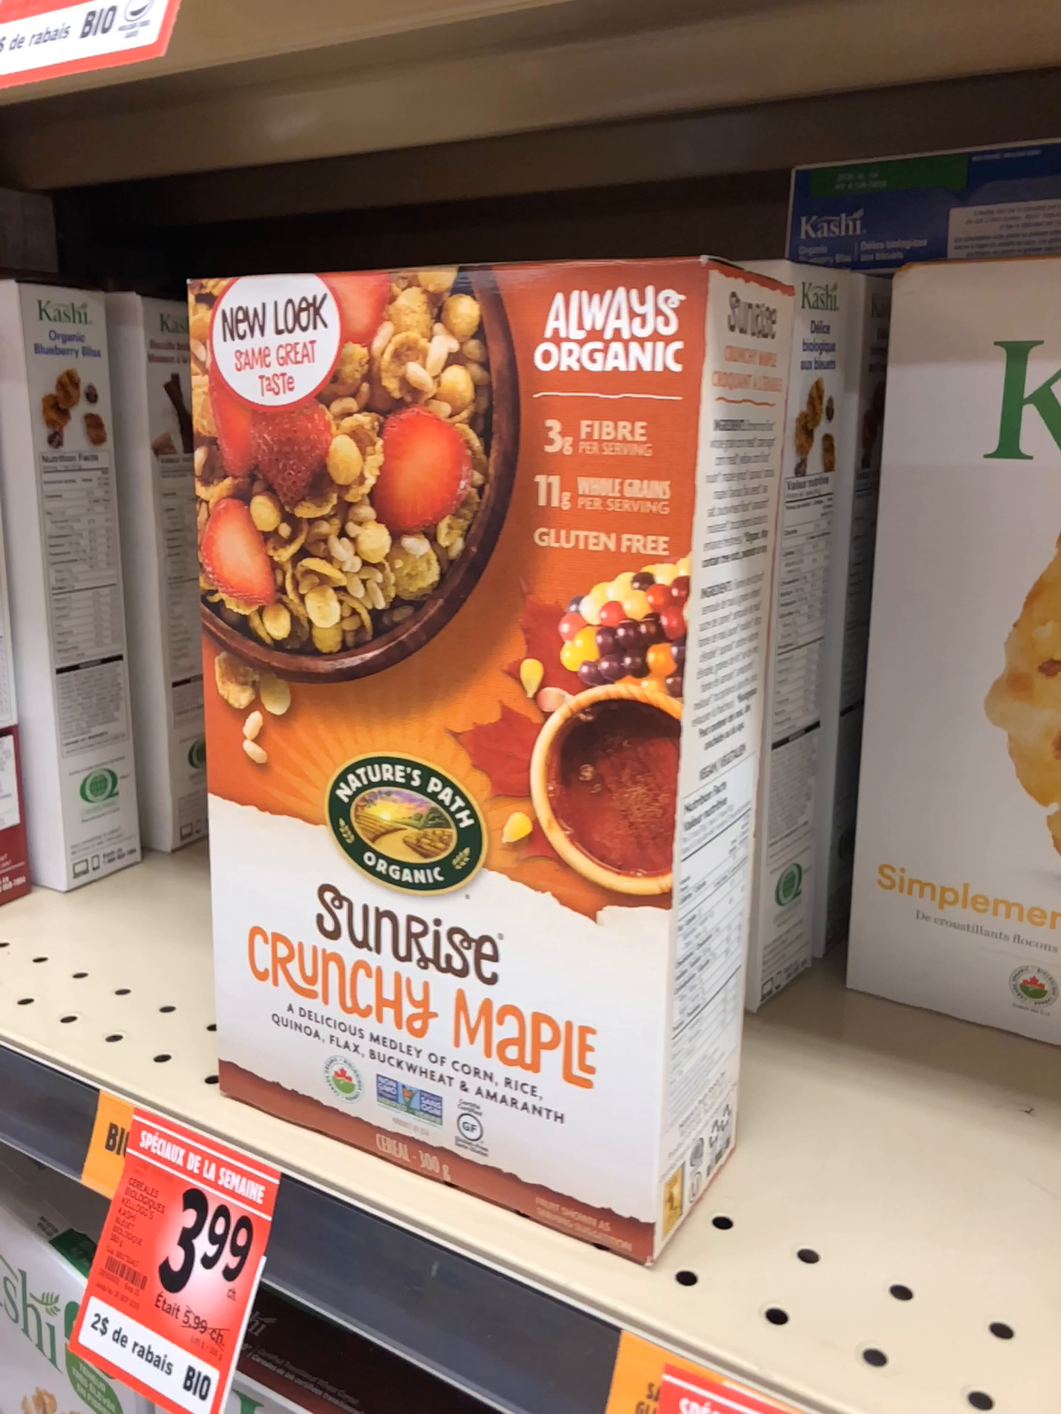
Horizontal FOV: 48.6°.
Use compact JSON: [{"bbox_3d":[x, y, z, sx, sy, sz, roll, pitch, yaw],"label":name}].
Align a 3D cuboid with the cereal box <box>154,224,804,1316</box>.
[{"bbox_3d":[-0.021,0.011,0.346,0.170,0.269,0.060,9,15,30],"label":"cereal box"}]
